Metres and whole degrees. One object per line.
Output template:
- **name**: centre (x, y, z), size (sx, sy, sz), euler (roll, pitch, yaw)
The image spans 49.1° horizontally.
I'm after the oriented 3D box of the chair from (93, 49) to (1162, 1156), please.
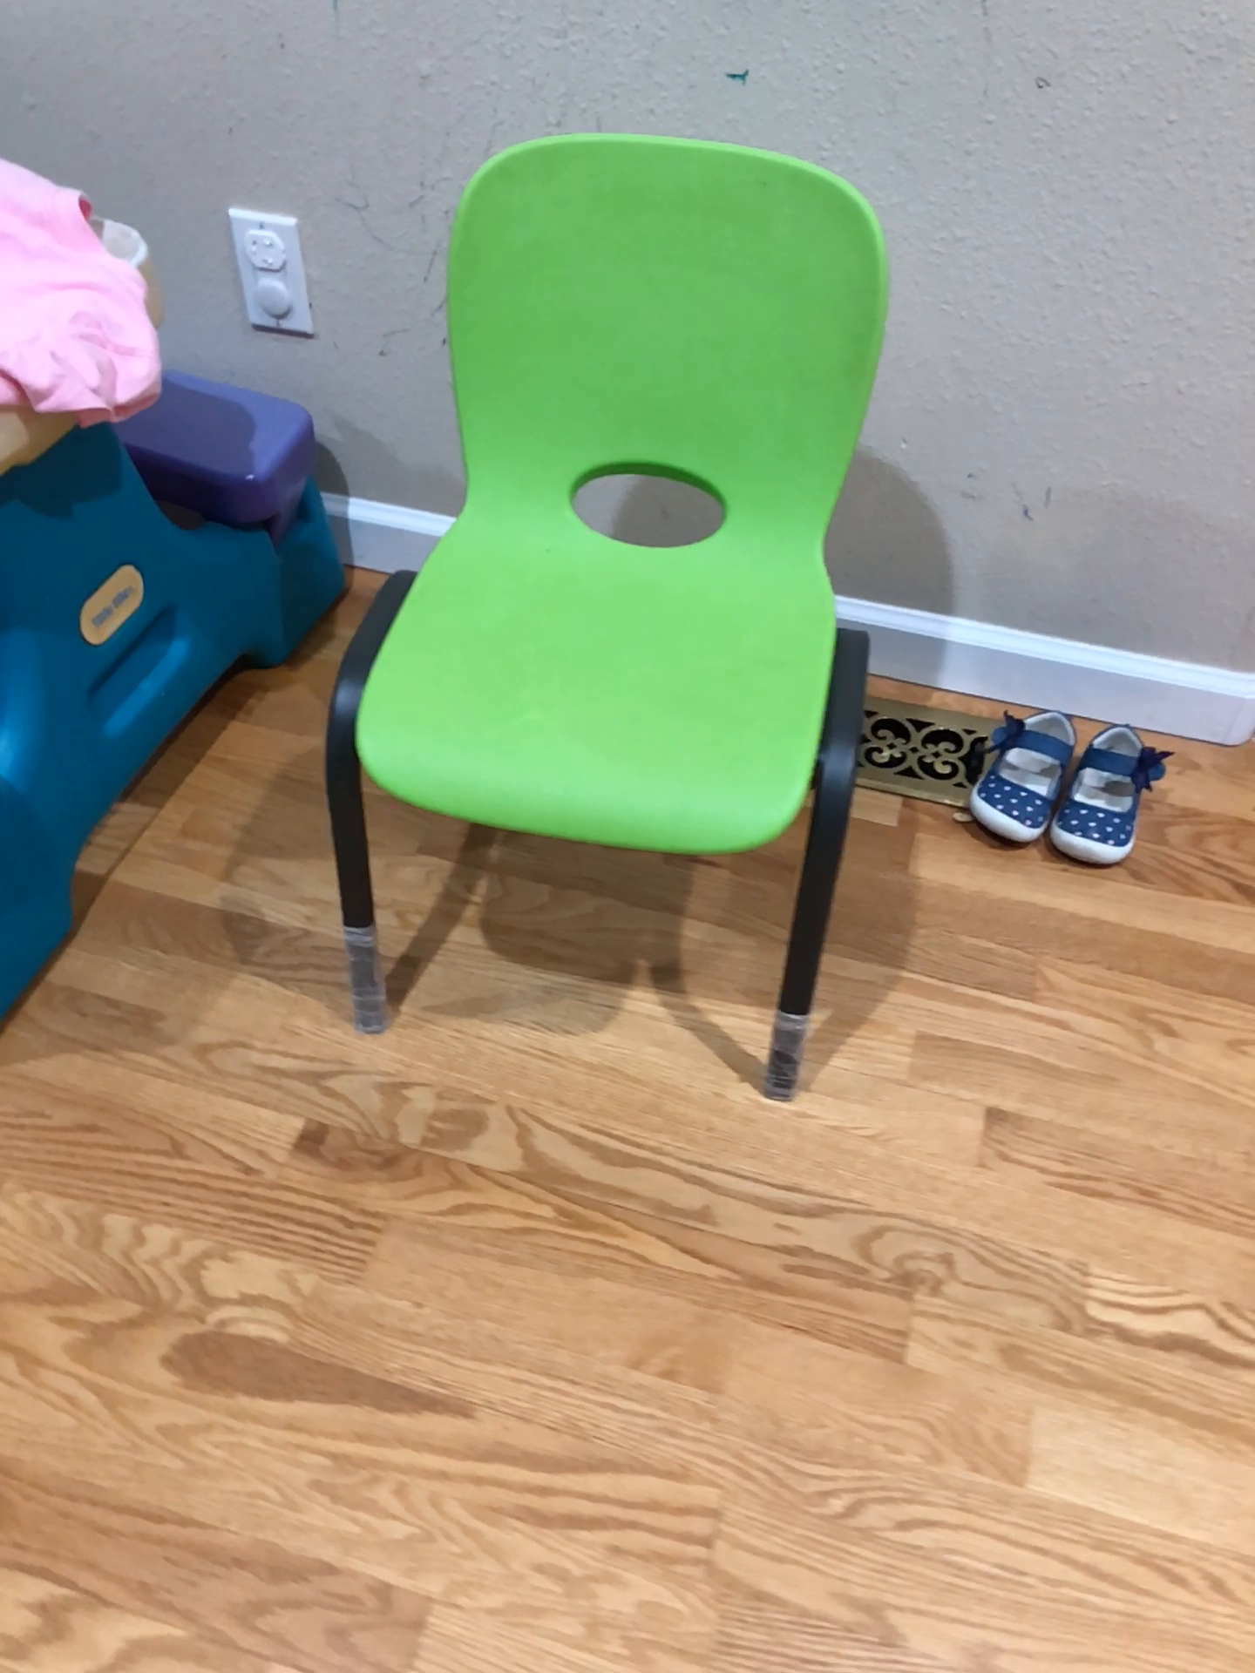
- **chair**: centre (0.029, -0.167, 1.007), size (0.510, 0.557, 0.483), euler (10, 48, 7)
